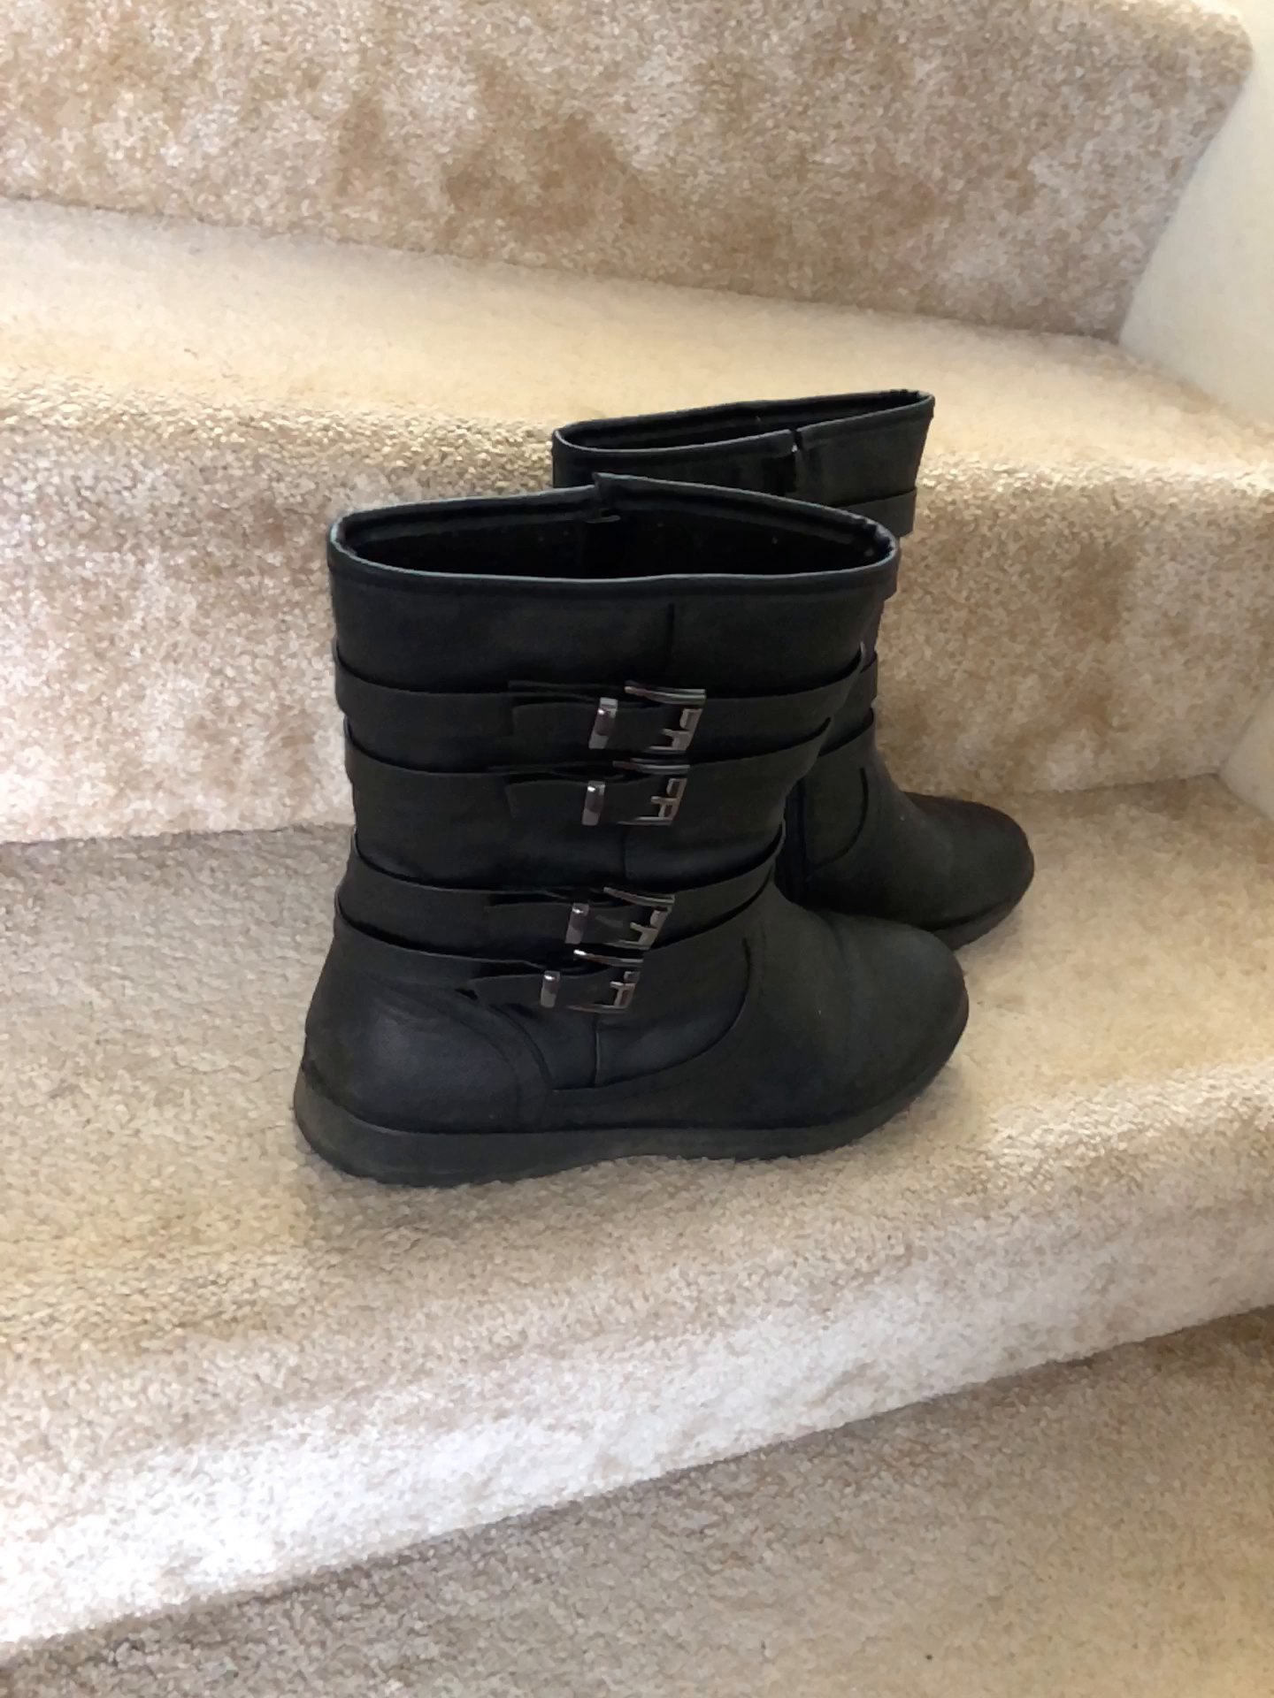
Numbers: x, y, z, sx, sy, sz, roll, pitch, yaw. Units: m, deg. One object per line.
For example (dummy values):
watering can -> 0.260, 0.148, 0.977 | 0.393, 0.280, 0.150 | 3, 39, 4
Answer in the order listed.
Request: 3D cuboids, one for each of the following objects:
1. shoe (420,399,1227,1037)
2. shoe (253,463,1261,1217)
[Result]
shoe -> 0.060, -0.054, 0.574 | 0.270, 0.218, 0.101 | -5, 37, -19
shoe -> 0.025, 0.001, 0.462 | 0.270, 0.199, 0.101 | 0, 36, -22
